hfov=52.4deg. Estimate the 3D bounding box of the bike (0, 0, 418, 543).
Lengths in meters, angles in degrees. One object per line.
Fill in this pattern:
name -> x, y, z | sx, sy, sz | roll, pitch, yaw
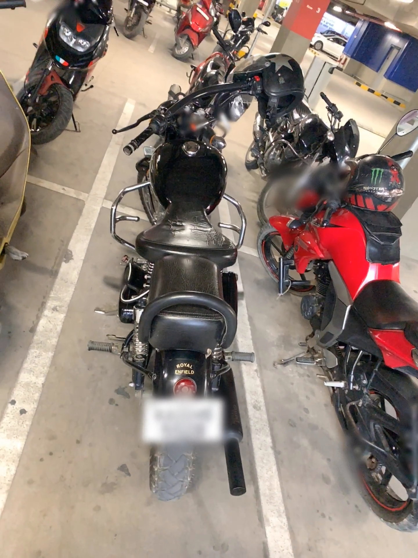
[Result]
bike -> -0.310, -0.283, 1.823 | 0.800, 1.303, 2.028 | 12, 35, -21
